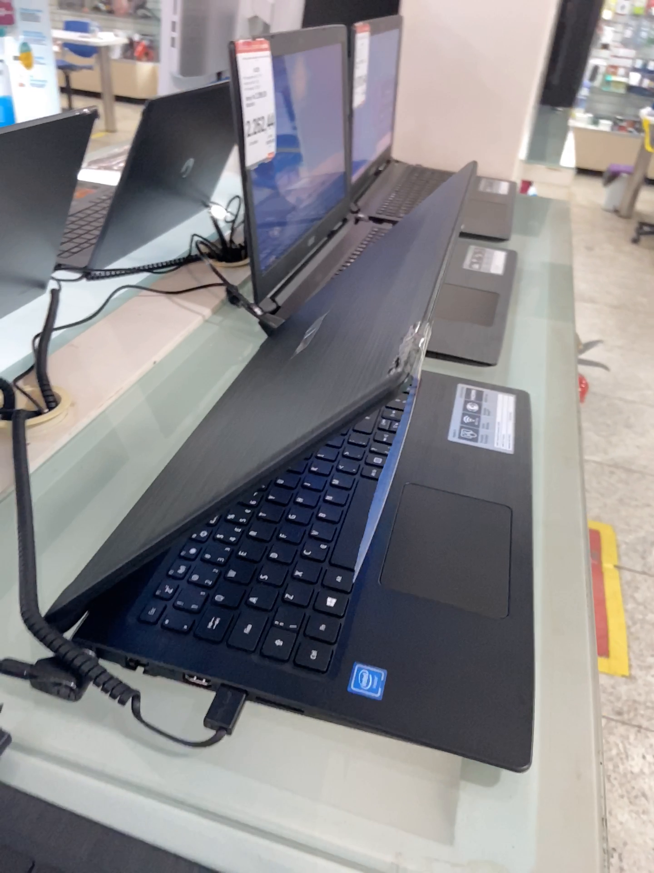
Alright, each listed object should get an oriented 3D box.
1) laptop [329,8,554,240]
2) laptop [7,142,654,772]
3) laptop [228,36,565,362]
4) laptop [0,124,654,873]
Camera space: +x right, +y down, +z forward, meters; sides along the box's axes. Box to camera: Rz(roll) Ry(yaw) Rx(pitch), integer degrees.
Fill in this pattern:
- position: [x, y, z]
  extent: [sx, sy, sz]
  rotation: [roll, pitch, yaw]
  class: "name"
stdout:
- position: [0.190, -0.527, 1.099]
  extent: [0.283, 0.241, 0.325]
  rotation: [16, 37, 14]
  class: "laptop"
- position: [0.036, -0.044, 0.440]
  extent: [0.238, 0.185, 0.381]
  rotation: [12, 34, 9]
  class: "laptop"
- position: [0.101, -0.306, 0.790]
  extent: [0.283, 0.247, 0.401]
  rotation: [13, 33, 10]
  class: "laptop"
- position: [-0.171, 0.152, 0.054]
  extent: [0.325, 0.231, 0.402]
  rotation: [15, 34, 11]
  class: "laptop"
